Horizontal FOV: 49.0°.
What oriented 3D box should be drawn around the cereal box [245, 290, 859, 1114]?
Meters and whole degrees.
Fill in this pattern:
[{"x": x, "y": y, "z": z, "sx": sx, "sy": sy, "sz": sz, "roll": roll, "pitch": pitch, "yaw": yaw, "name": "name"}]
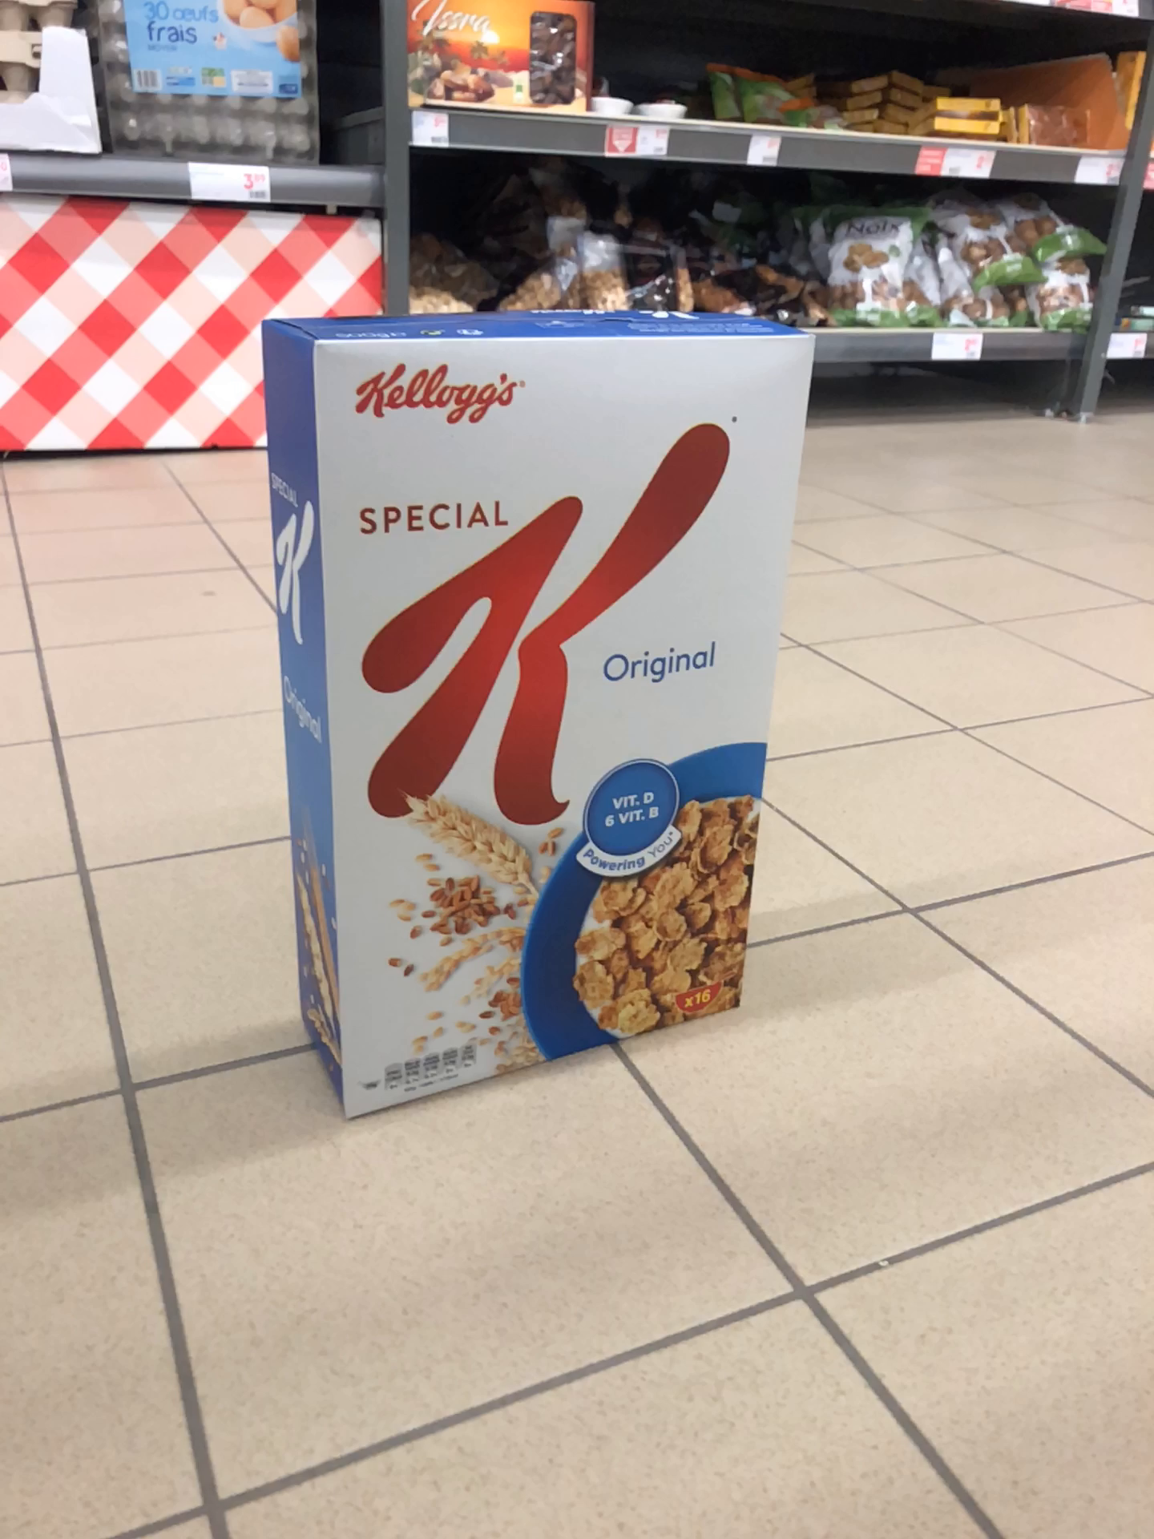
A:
[{"x": -0.011, "y": -0.030, "z": 0.512, "sx": 0.211, "sy": 0.298, "sz": 0.070, "roll": -9, "pitch": 25, "yaw": -24, "name": "cereal box"}]
